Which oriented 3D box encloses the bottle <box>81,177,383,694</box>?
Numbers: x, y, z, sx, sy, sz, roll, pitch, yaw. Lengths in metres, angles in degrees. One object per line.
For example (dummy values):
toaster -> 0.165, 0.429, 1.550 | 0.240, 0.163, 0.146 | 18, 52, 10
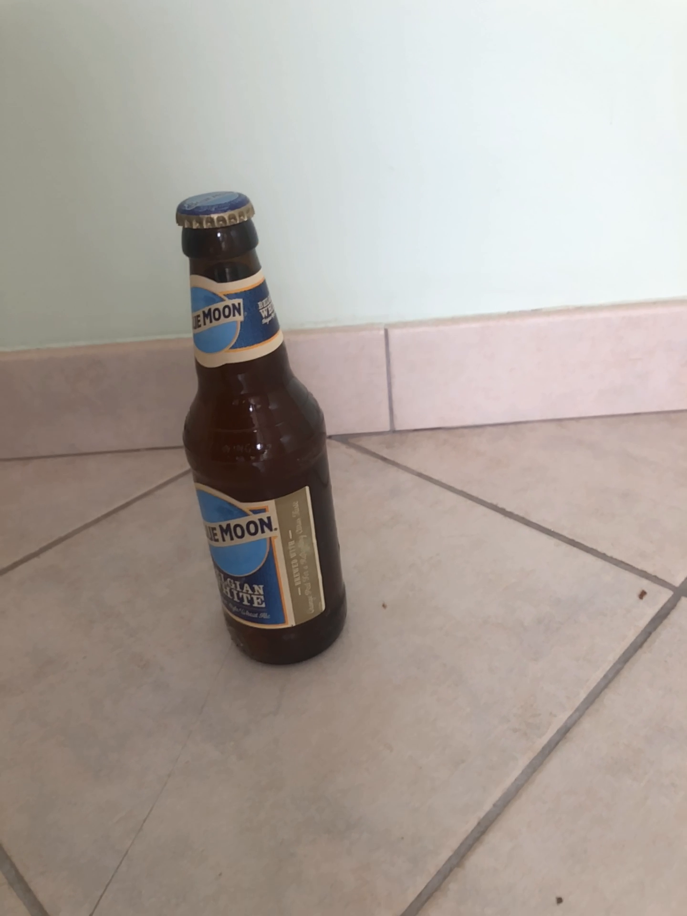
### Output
bottle -> -0.038, -0.005, 0.337 | 0.070, 0.209, 0.070 | -4, 33, 3
